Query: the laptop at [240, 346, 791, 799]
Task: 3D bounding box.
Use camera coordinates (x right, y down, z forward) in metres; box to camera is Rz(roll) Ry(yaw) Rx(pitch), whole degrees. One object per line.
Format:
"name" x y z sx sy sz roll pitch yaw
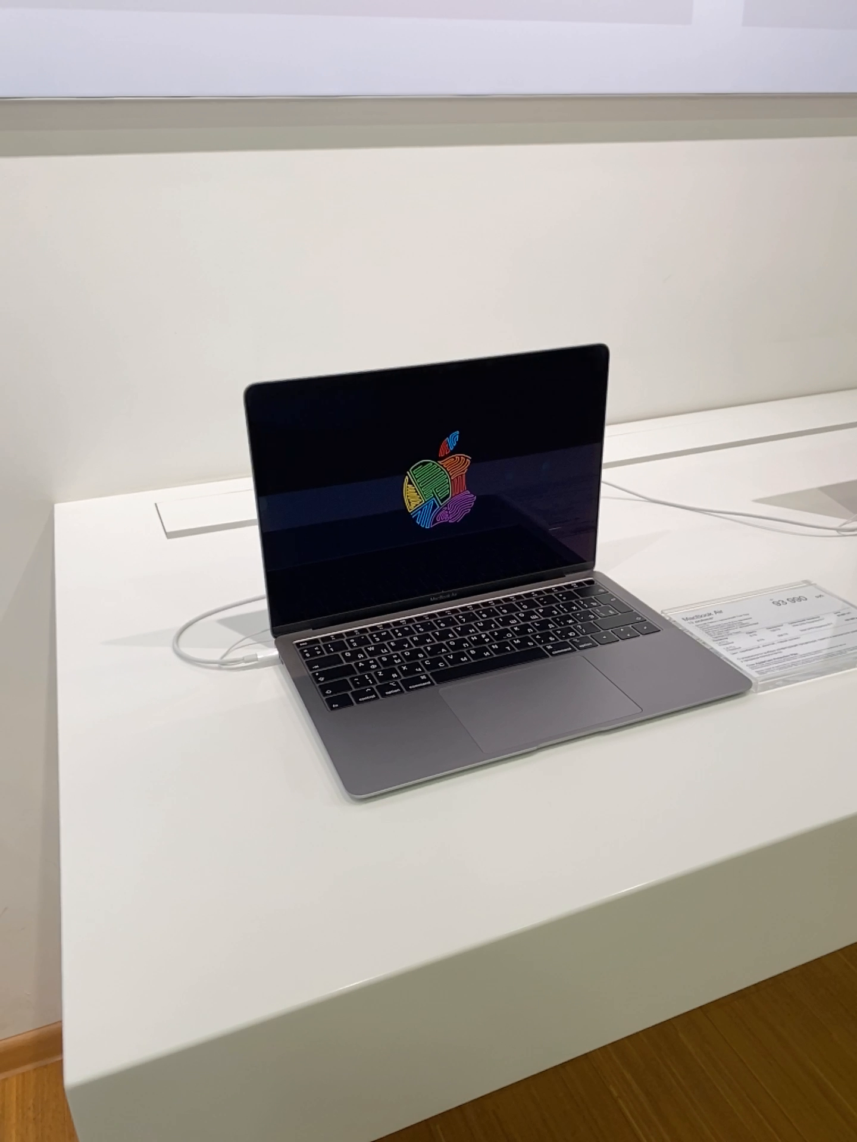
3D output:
"laptop" 0.047 -0.026 0.633 0.301 0.211 0.226 -10 25 -19
